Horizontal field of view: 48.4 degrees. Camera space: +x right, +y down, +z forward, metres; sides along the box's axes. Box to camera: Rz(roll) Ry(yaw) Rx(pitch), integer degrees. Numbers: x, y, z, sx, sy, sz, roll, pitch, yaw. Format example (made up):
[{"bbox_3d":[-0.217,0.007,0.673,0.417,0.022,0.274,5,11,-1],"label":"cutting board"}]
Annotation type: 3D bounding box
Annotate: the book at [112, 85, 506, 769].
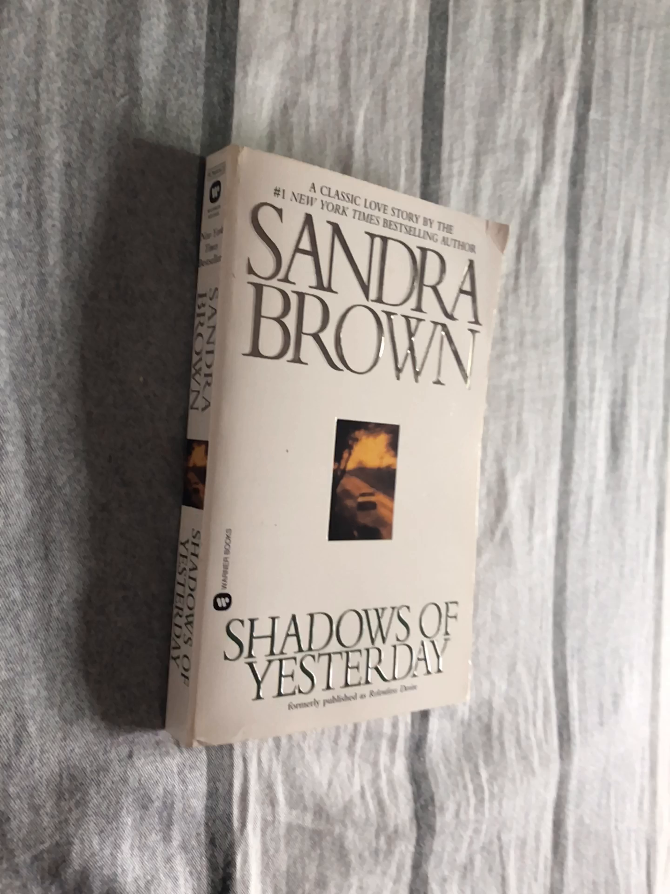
[{"bbox_3d":[-0.002,-0.002,0.245,0.120,0.030,0.180,5,90,-40],"label":"book"}]
